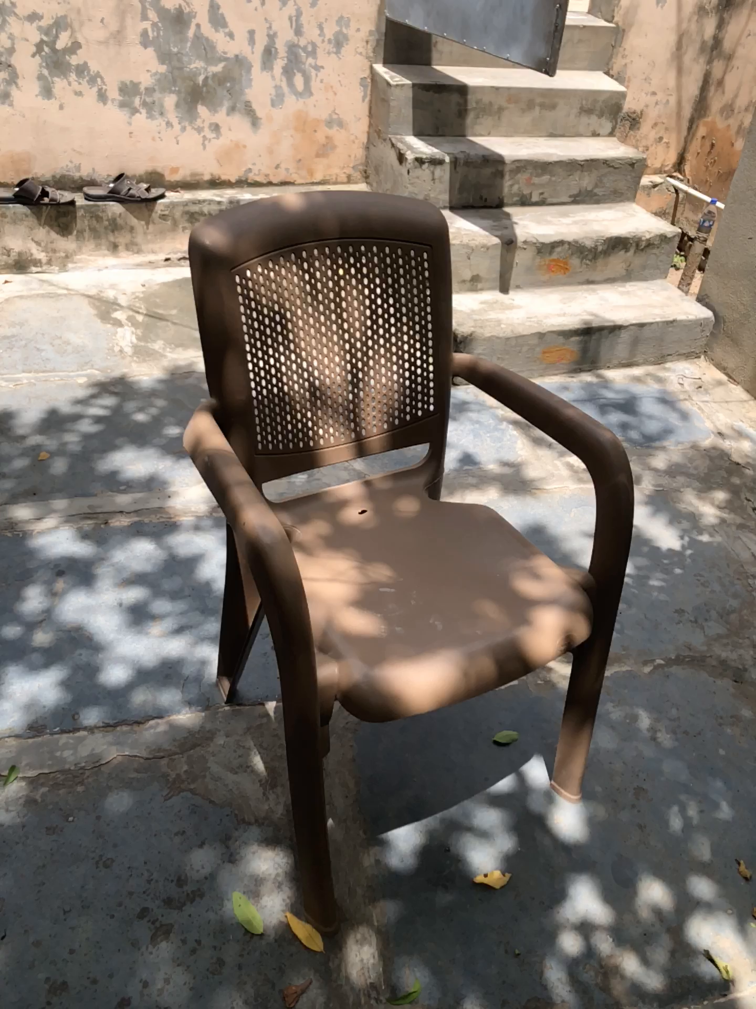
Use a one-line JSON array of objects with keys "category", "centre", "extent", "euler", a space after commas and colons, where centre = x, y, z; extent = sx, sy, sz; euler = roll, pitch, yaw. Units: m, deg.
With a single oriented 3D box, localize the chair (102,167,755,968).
[{"category": "chair", "centre": [0.038, 0.039, 1.249], "extent": [0.632, 0.825, 0.682], "euler": [-15, 41, -24]}]
